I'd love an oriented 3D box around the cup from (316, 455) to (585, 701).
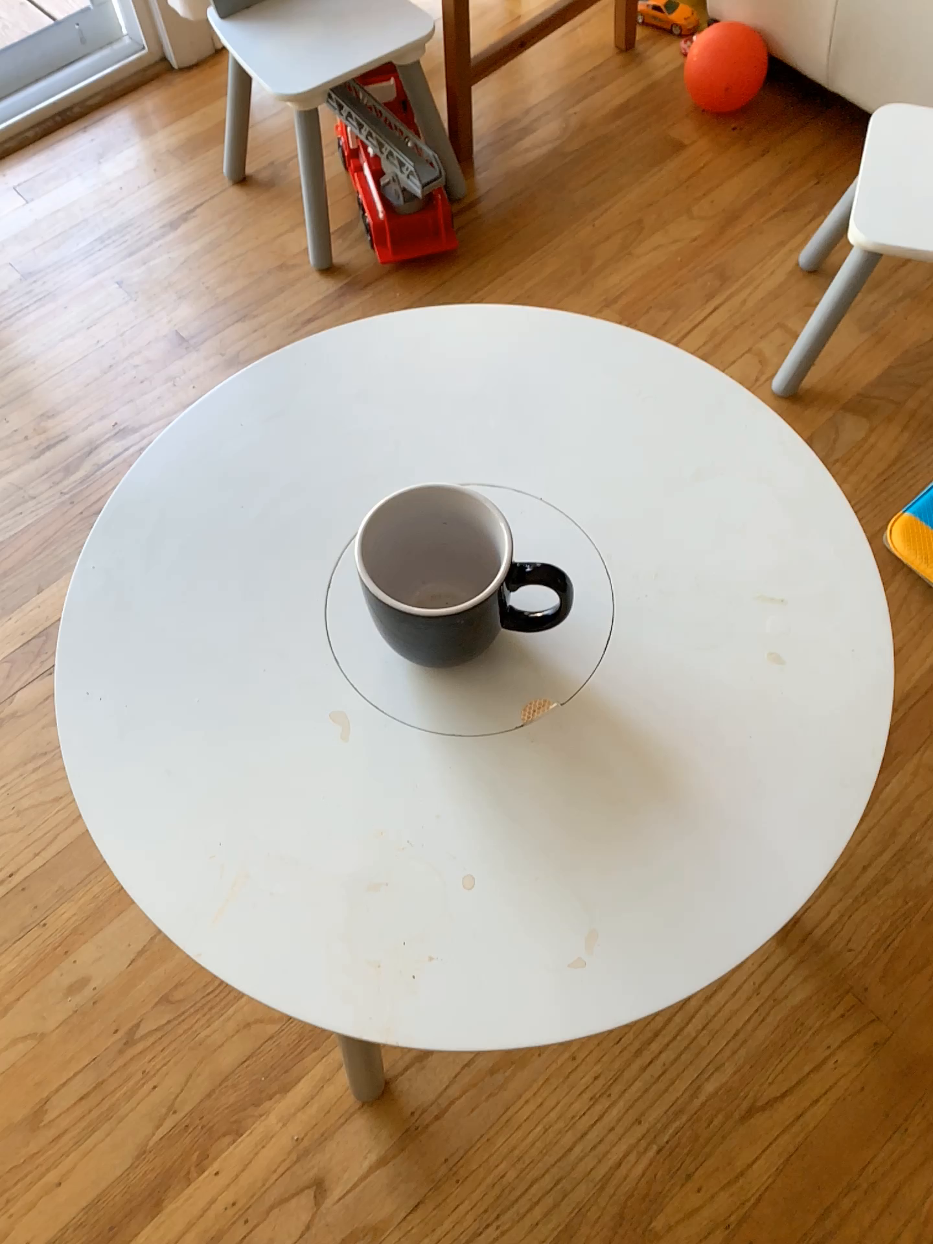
[{"bbox_3d":[-0.006,-0.028,0.617,0.140,0.090,0.100,13,63,9],"label":"cup"}]
